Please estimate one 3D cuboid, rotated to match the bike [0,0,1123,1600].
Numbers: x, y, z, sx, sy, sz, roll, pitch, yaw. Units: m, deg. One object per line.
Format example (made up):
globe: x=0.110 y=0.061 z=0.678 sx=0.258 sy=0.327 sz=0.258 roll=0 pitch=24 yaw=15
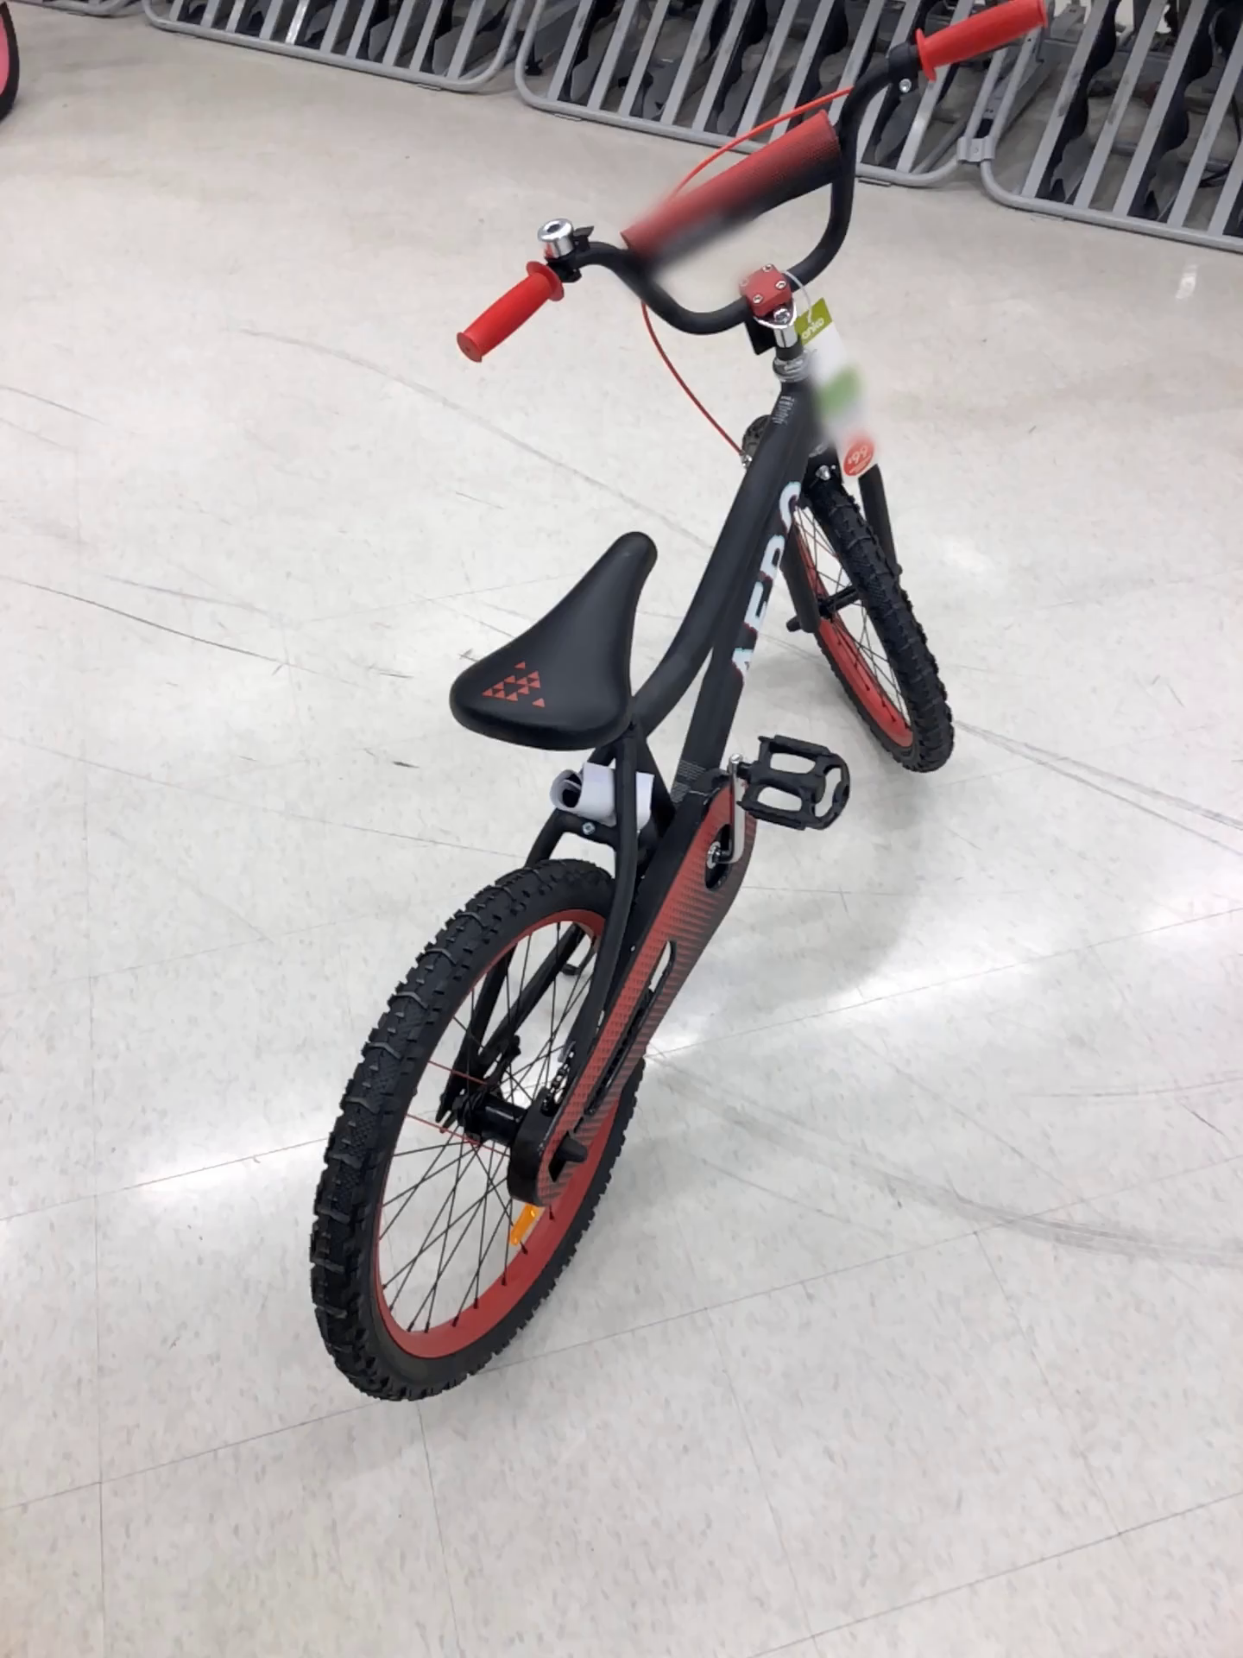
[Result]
bike: x=-0.016 y=-0.177 z=1.297 sx=0.625 sy=0.925 sz=1.252 roll=15 pitch=50 yaw=13
